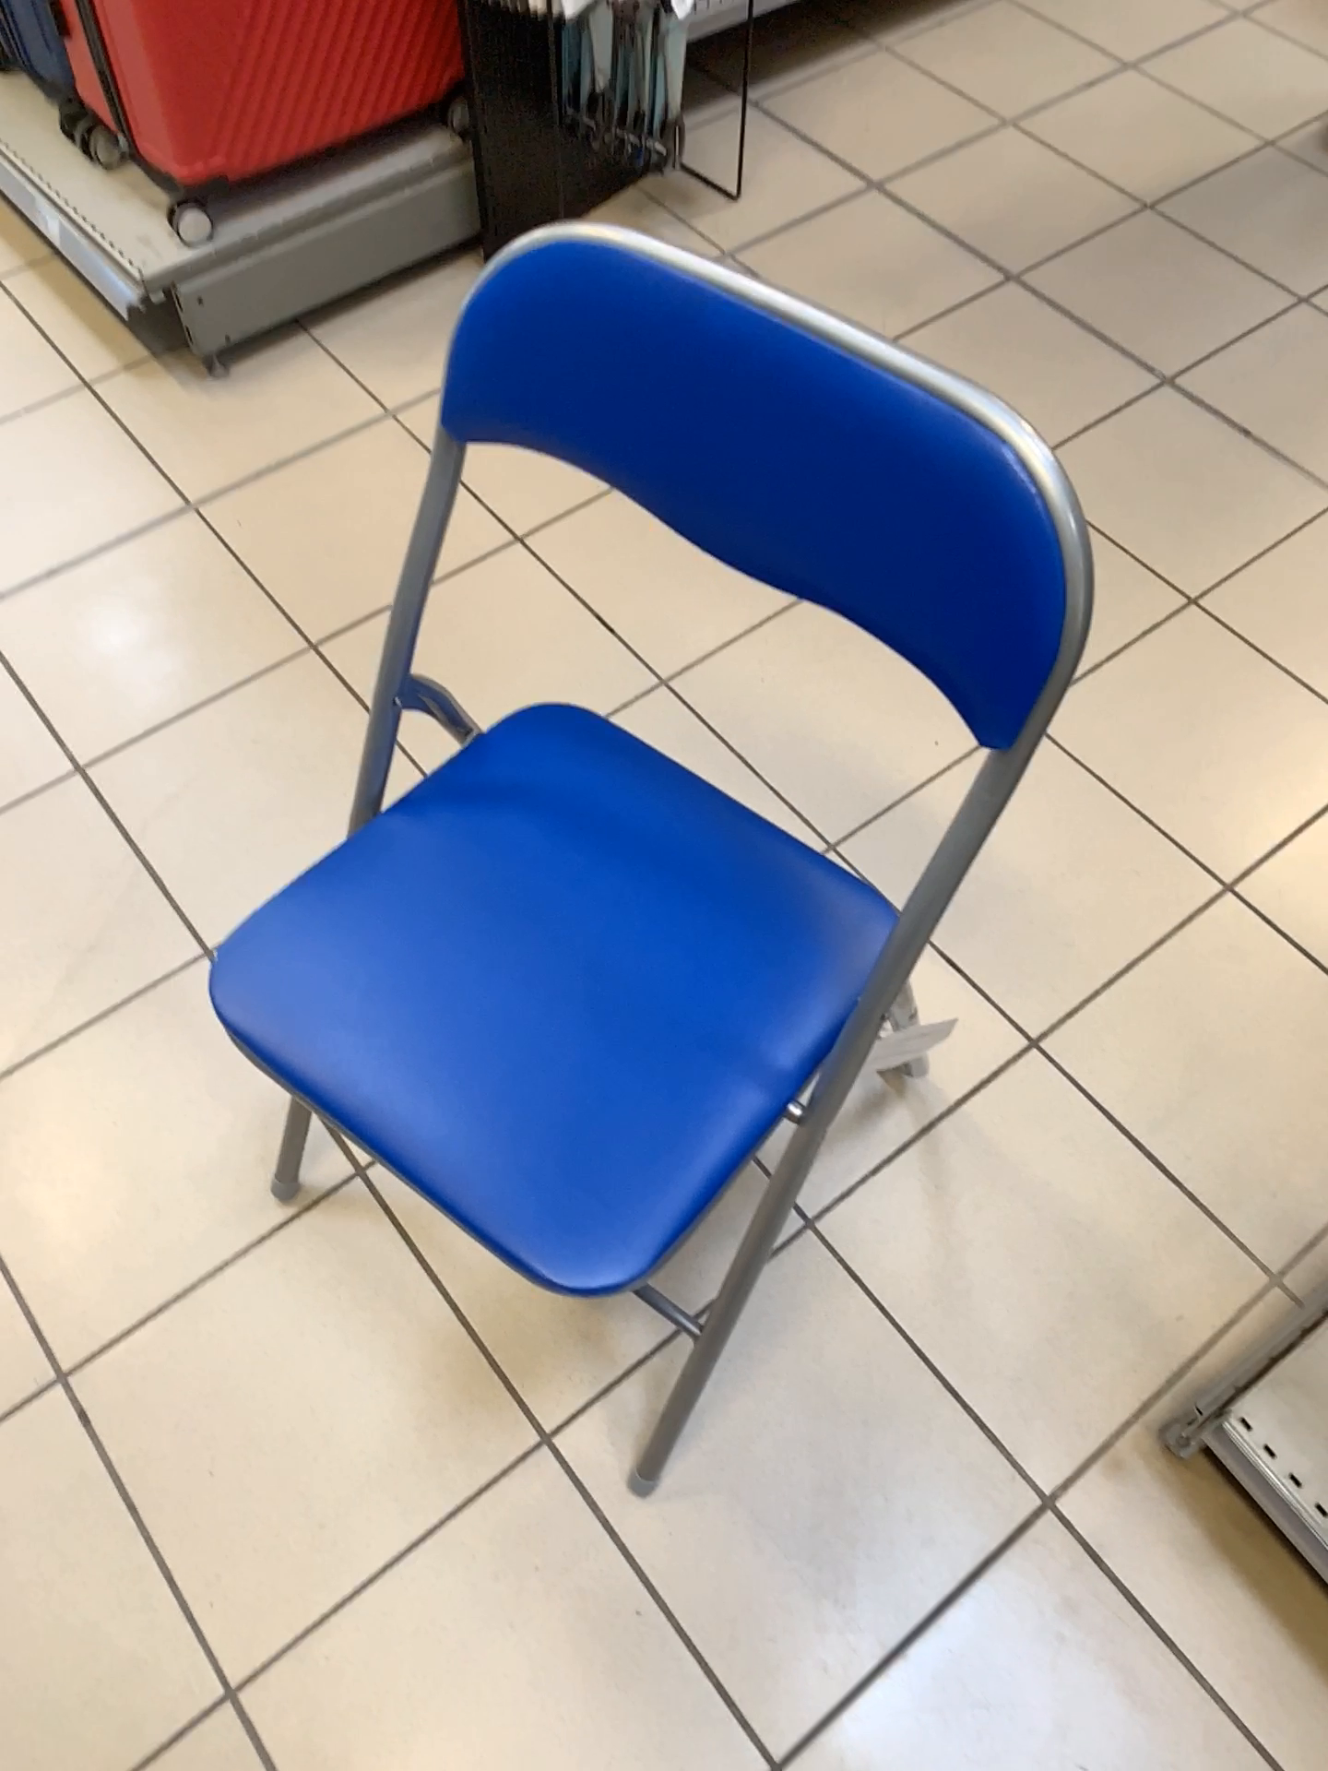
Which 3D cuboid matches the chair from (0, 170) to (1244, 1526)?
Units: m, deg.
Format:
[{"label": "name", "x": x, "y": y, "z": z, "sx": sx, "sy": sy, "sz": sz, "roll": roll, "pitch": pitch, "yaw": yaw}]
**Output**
[{"label": "chair", "x": -0.046, "y": 0.020, "z": 0.954, "sx": 0.479, "sy": 0.664, "sz": 0.525, "roll": 32, "pitch": 63, "yaw": 18}]
